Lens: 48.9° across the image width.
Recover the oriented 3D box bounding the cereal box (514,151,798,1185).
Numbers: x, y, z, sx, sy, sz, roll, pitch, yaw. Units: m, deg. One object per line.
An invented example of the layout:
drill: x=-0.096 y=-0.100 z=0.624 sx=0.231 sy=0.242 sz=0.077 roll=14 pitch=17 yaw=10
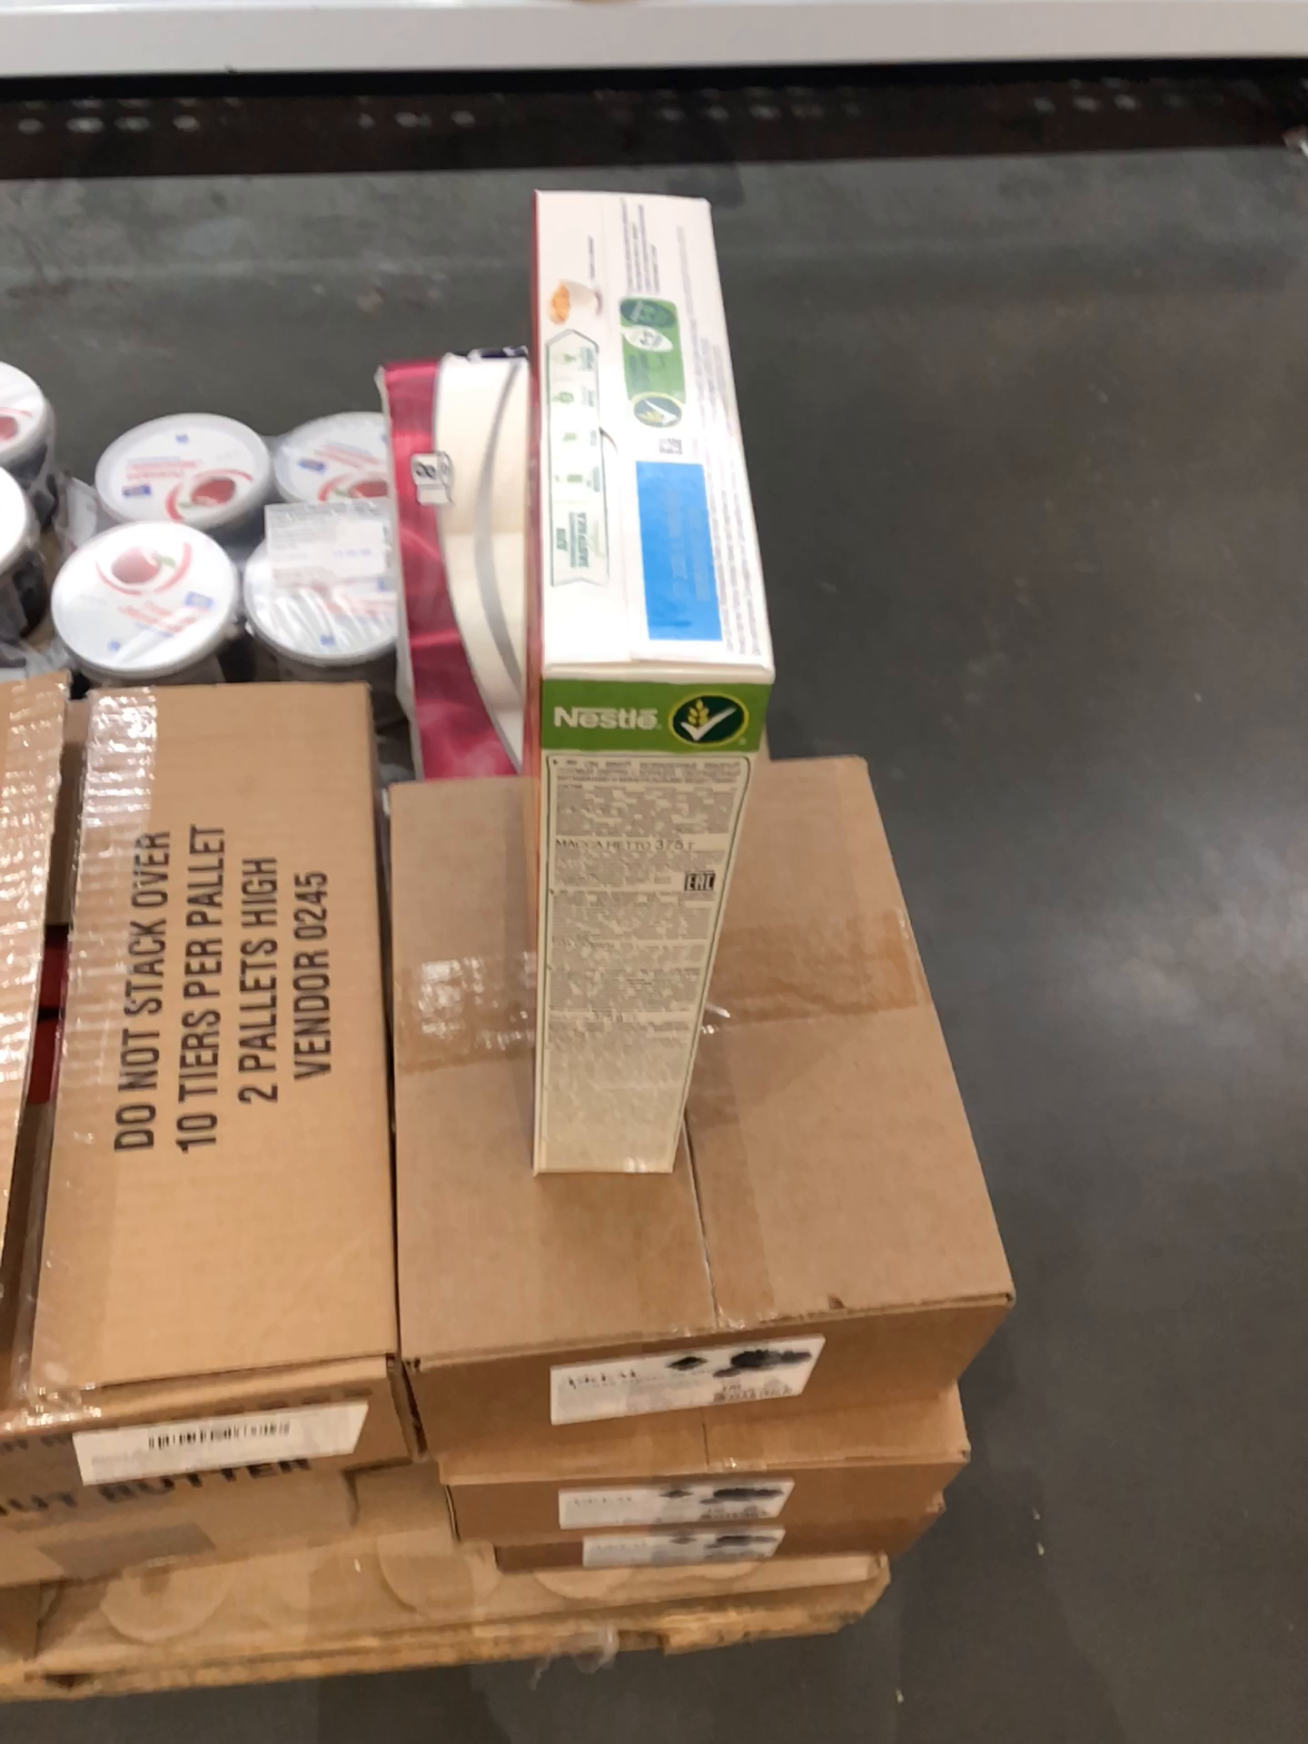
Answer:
cereal box: x=-0.013 y=-0.046 z=0.474 sx=0.060 sy=0.278 sz=0.201 roll=1 pitch=56 yaw=-5
